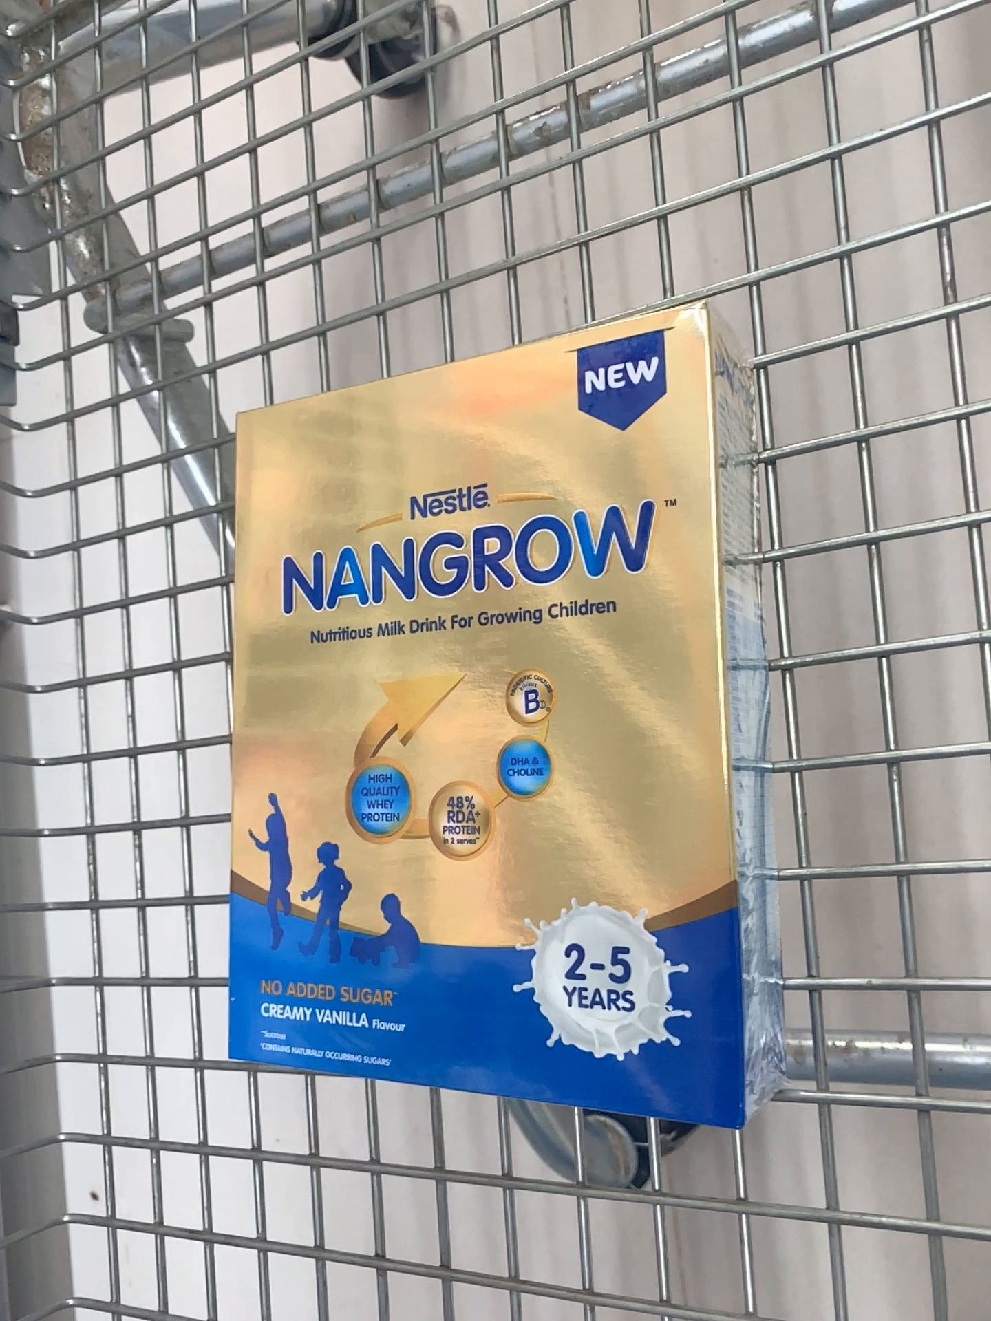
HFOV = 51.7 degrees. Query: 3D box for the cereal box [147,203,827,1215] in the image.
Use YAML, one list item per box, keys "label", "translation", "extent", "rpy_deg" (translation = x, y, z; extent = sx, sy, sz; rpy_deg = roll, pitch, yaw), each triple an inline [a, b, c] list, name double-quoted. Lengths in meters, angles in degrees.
- label: "cereal box"
  translation: [-0.006, 0.012, 0.254]
  extent: [0.151, 0.060, 0.190]
  rpy_deg: [-4, 88, 28]
